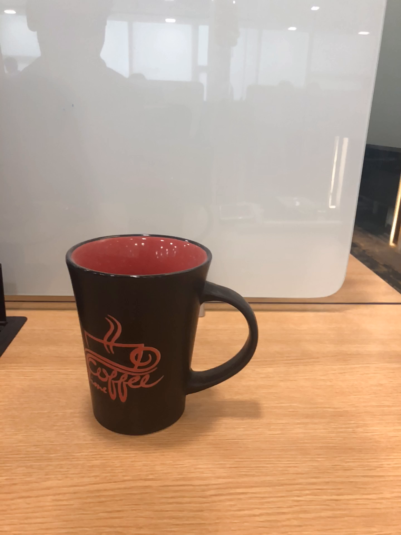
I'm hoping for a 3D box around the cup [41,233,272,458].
[{"bbox_3d":[-0.020,0.041,0.284,0.120,0.100,0.090,4,18,7],"label":"cup"}]
